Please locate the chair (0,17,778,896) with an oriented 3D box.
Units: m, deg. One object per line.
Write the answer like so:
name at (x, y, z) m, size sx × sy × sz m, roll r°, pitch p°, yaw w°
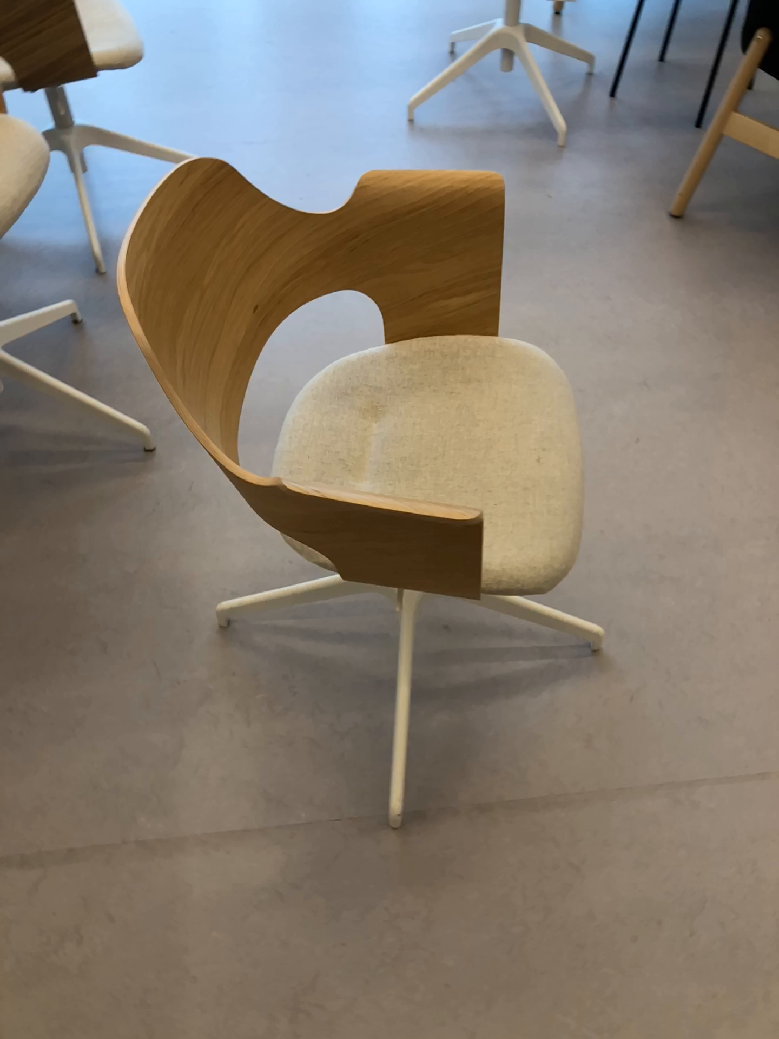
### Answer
chair at (0.076, -0.064, 1.136) m, size 0.660 × 0.776 × 0.714 m, roll 14°, pitch 53°, yaw 10°
